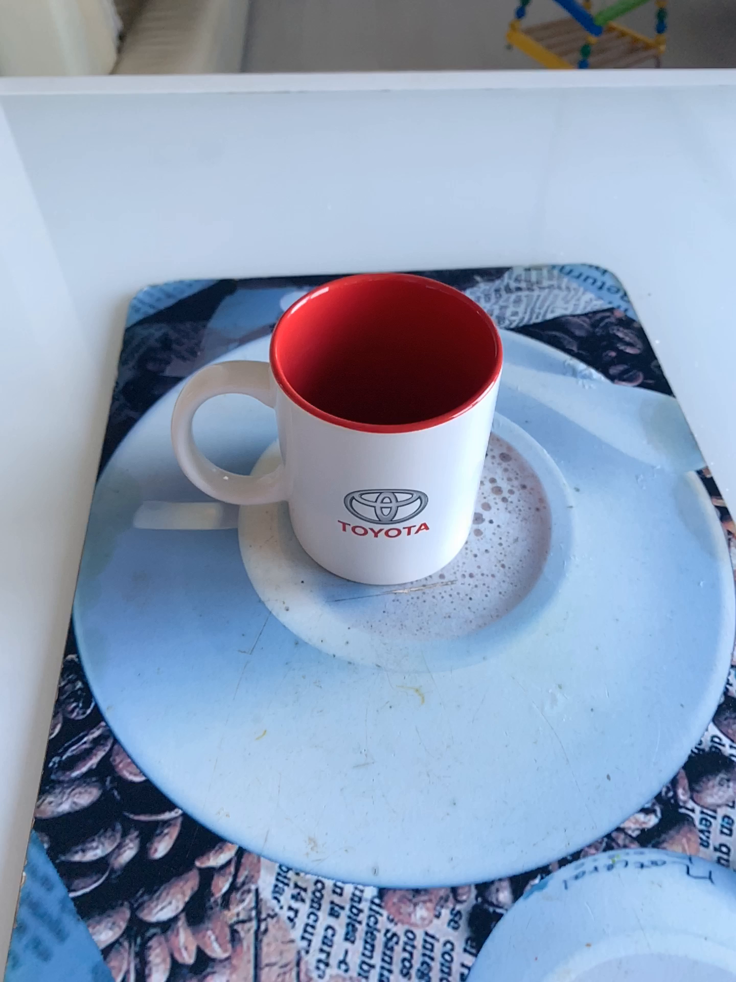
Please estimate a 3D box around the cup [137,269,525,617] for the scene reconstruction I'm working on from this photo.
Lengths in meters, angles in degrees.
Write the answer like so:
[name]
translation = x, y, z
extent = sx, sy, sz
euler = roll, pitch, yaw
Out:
[cup]
translation = -0.012, -0.014, 0.298
extent = 0.117, 0.115, 0.077
euler = -1, 51, -1
